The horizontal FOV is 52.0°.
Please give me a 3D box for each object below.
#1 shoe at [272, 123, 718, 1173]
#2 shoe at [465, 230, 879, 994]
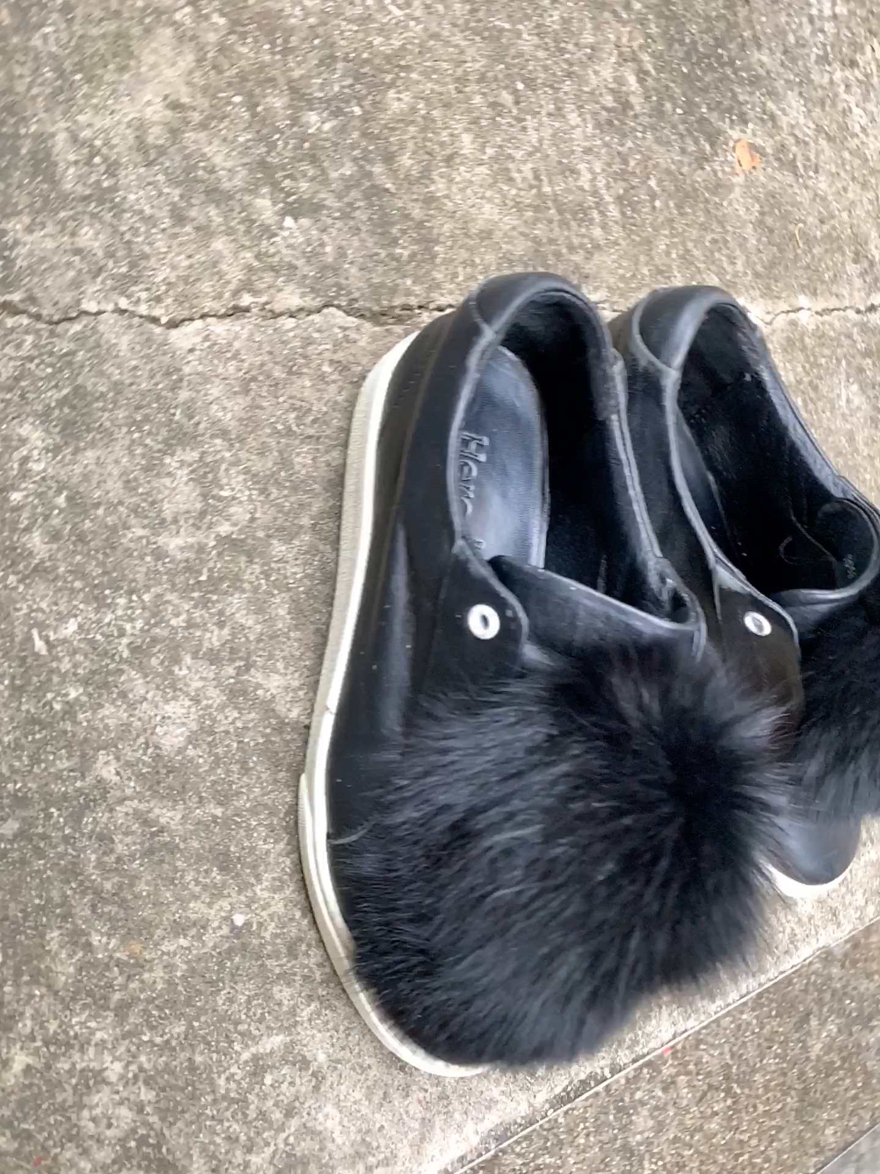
[{"bbox_3d":[0.010,0.014,0.293,0.095,0.097,0.269,5,78,-29],"label":"shoe"},{"bbox_3d":[0.125,0.011,0.347,0.098,0.097,0.243,-30,96,-31],"label":"shoe"}]
